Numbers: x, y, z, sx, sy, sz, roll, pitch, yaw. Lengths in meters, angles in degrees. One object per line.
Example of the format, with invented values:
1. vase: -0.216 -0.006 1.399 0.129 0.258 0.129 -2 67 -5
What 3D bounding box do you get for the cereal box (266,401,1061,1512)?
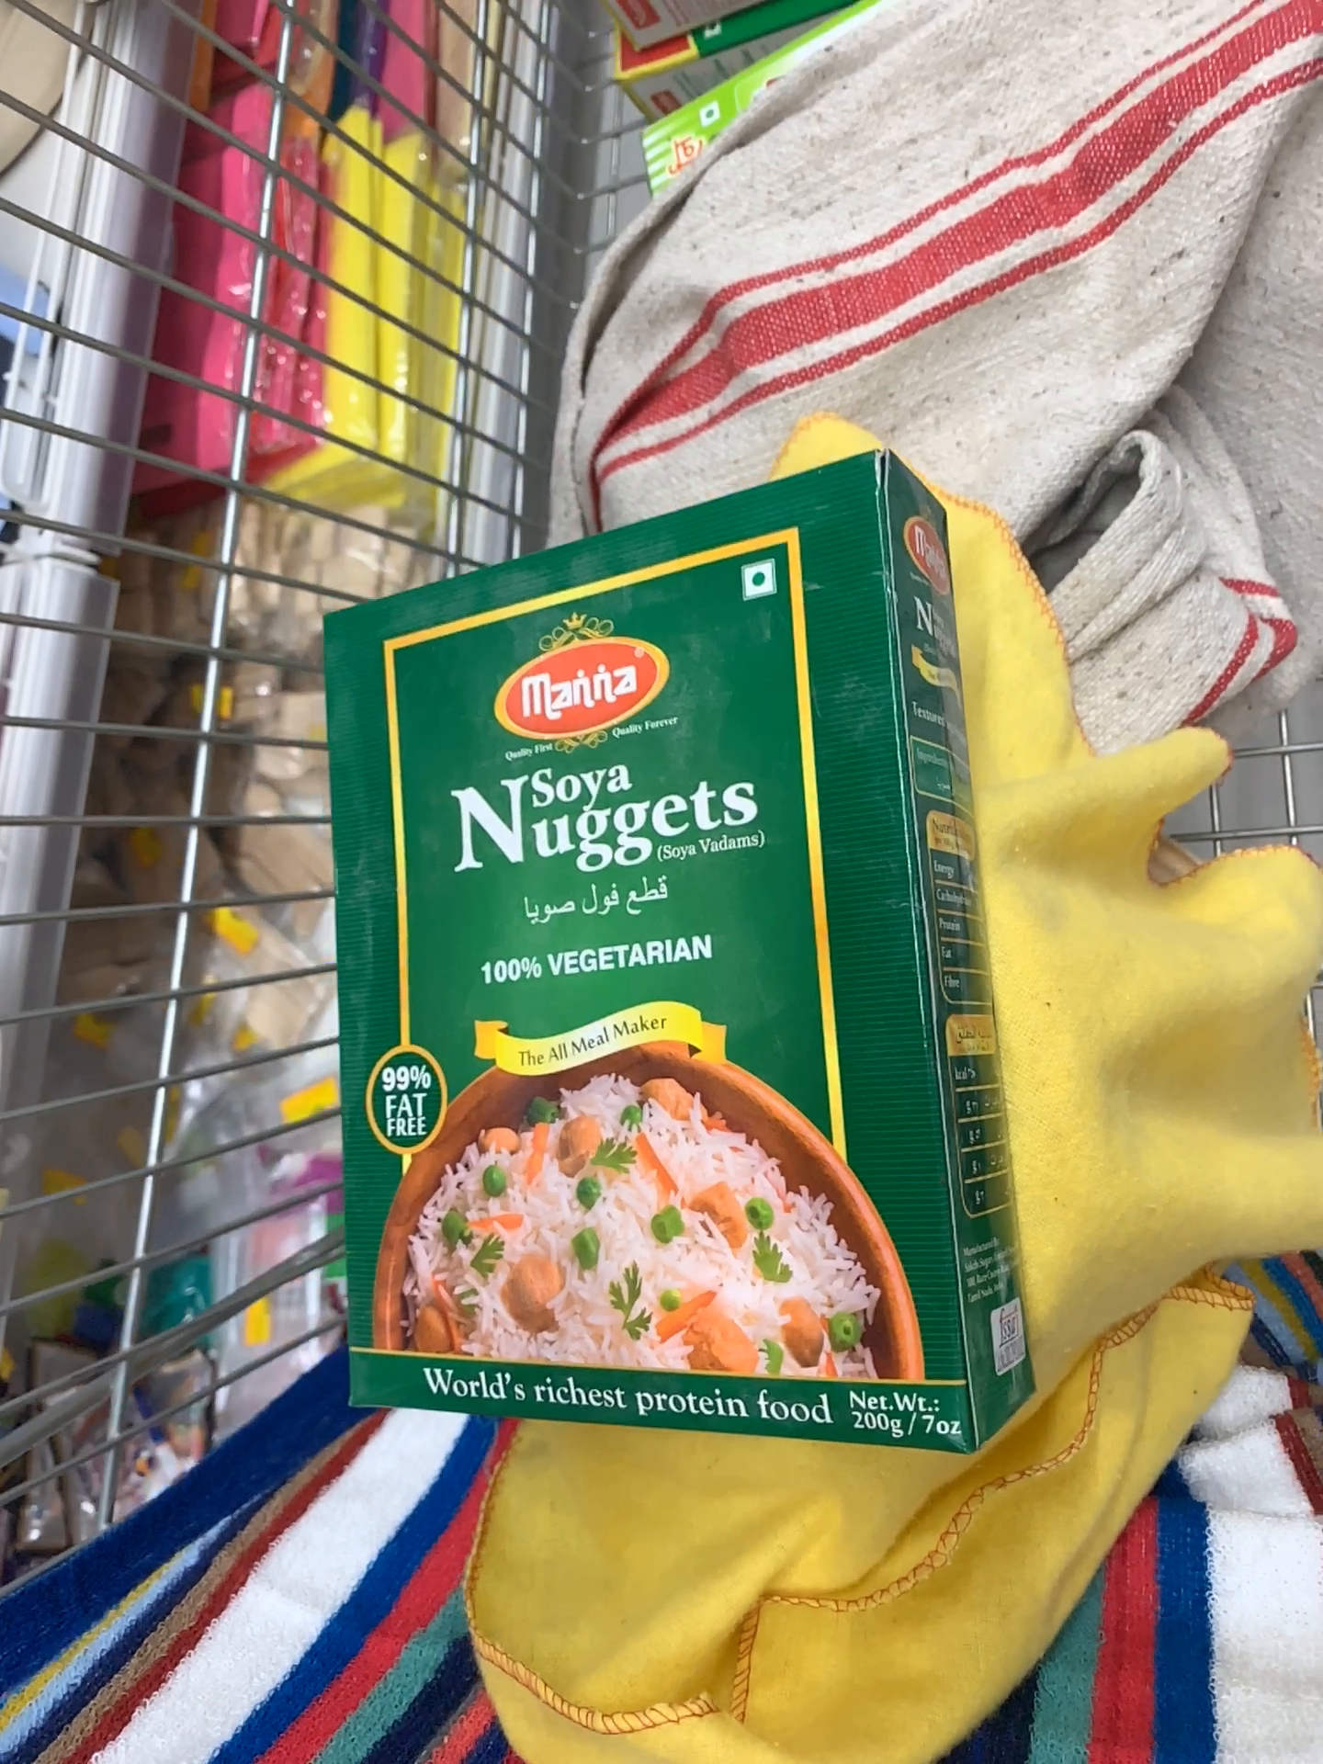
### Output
1. cereal box: -0.007 0.020 0.310 0.161 0.060 0.200 -8 81 30
